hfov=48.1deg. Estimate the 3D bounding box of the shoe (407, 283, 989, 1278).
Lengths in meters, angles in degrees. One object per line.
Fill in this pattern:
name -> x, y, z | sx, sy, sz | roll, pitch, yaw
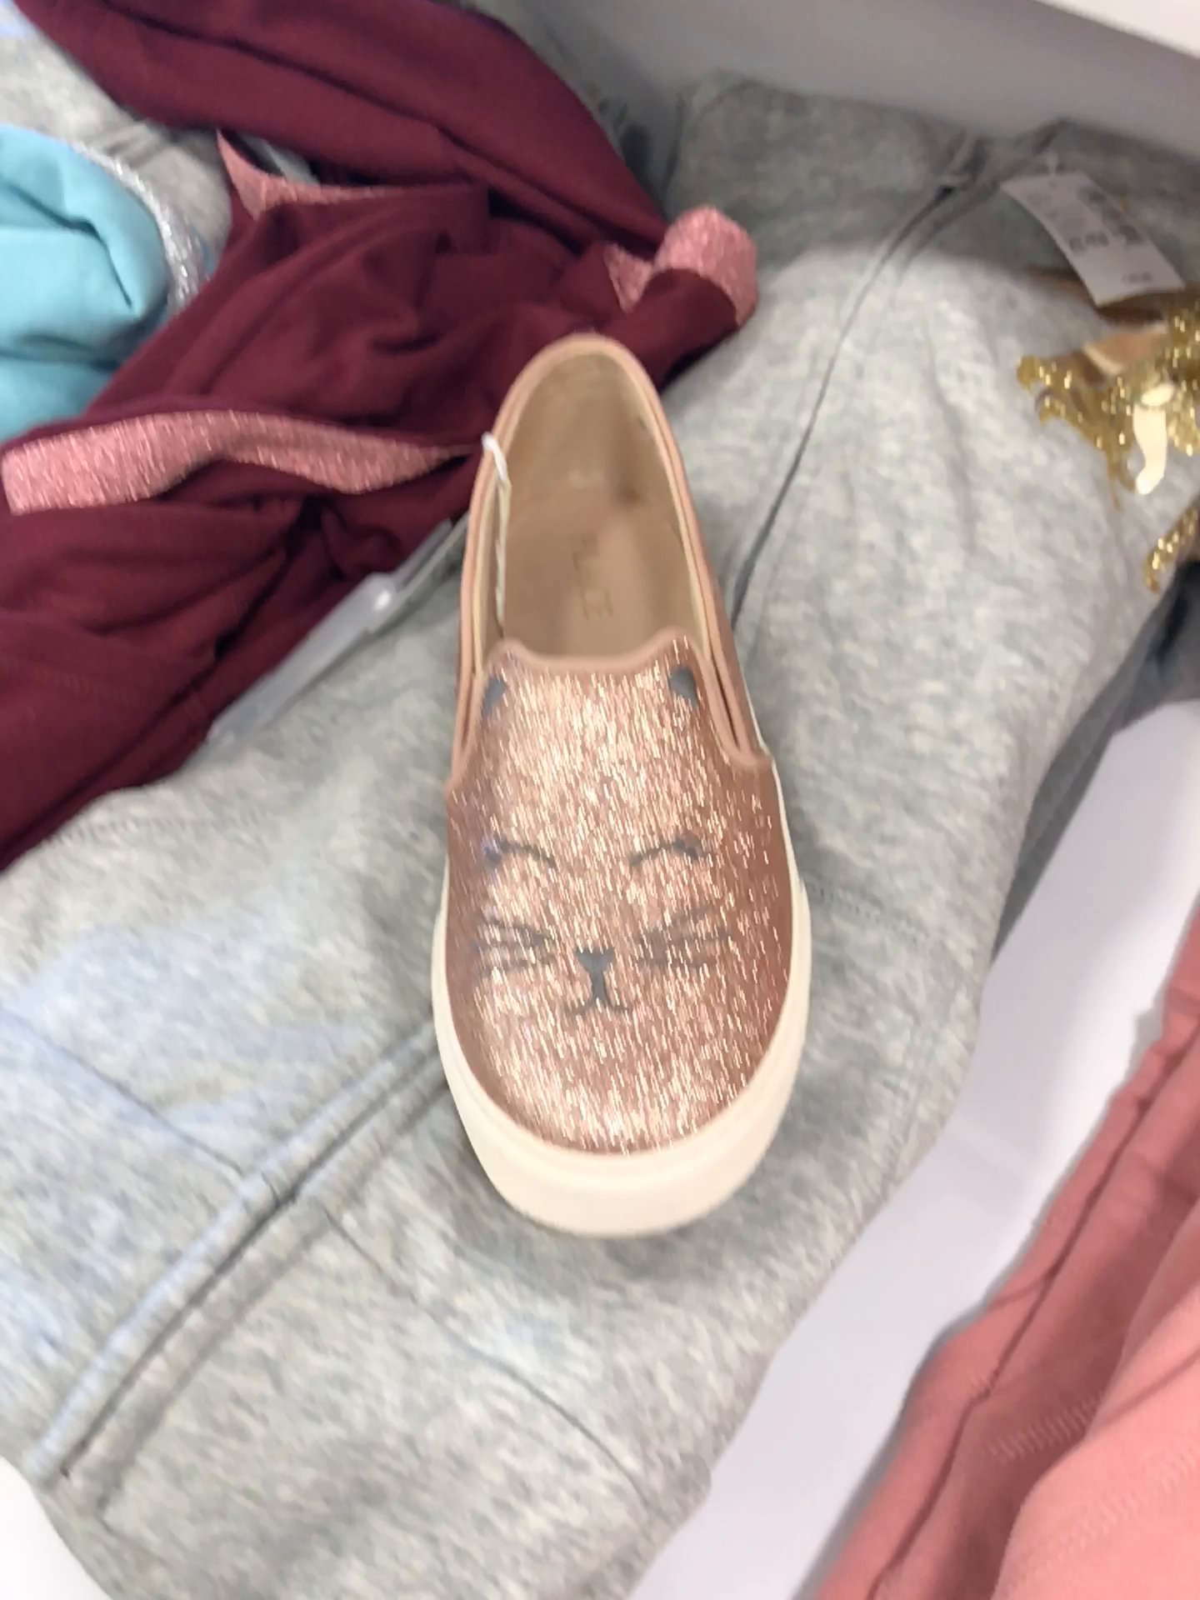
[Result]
shoe -> 0.012, -0.016, 0.305 | 0.090, 0.080, 0.221 | 2, 53, -3
